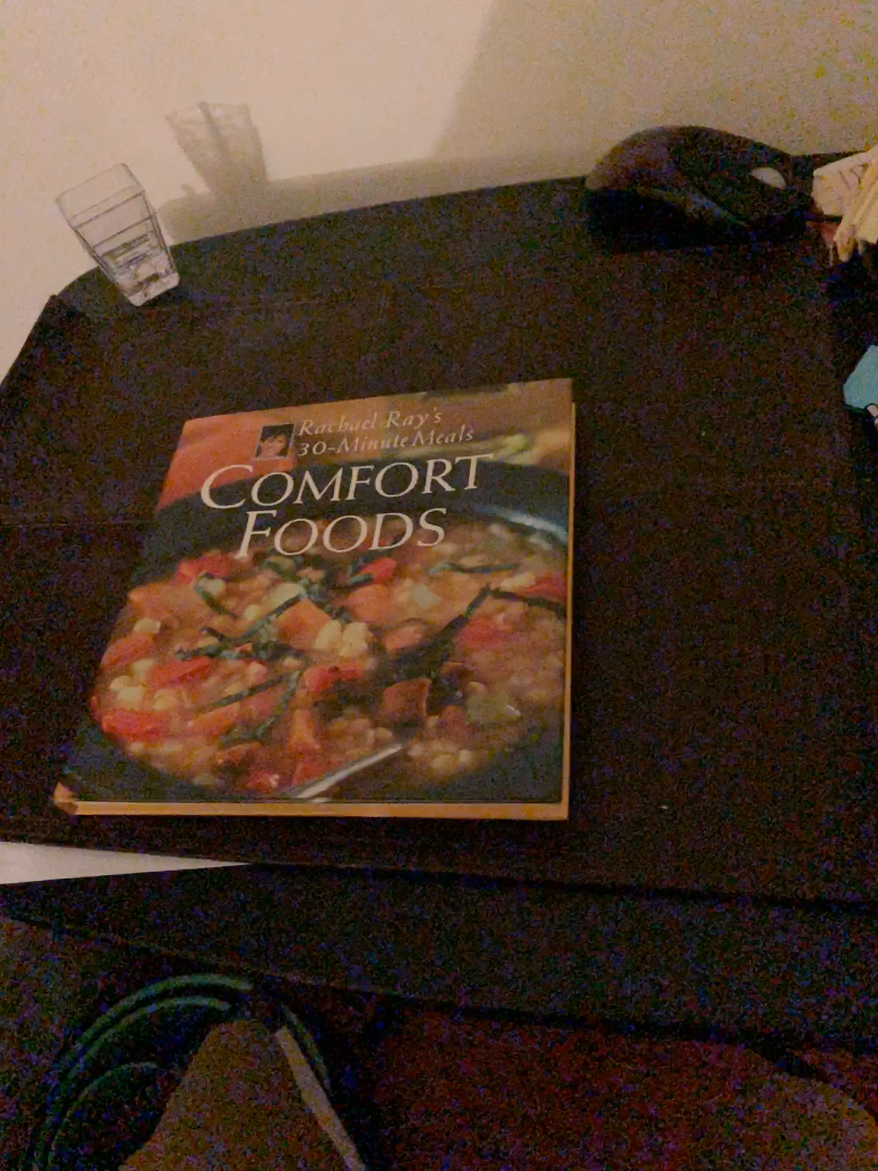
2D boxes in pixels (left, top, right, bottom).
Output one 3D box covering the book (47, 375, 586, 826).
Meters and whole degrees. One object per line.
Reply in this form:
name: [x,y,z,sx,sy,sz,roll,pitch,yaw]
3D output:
book: [-0.040,0.000,0.383,0.200,0.020,0.201,-4,54,15]
